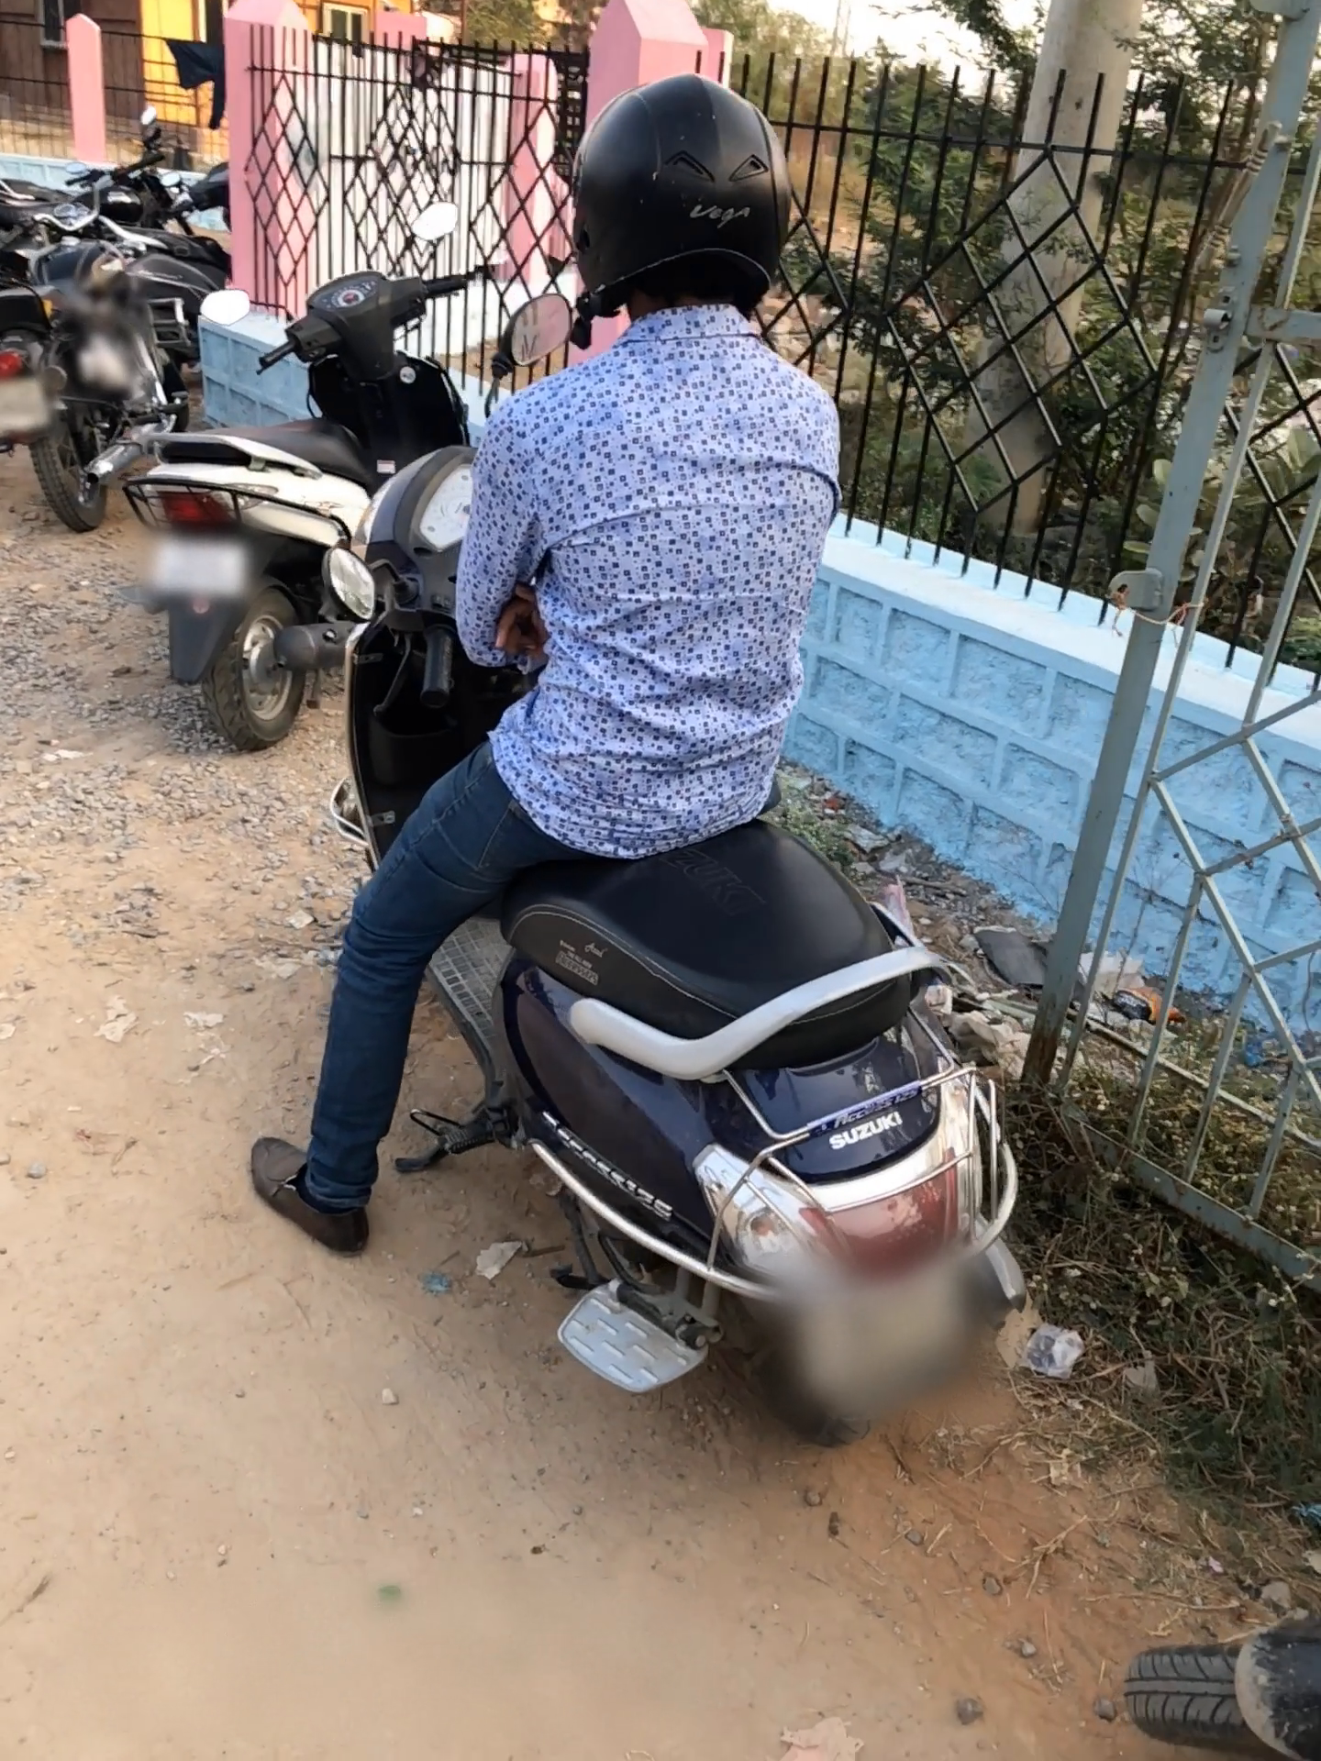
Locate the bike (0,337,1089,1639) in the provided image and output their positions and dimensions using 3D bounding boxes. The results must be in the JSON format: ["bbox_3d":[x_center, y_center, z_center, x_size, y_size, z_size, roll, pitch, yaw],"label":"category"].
[{"bbox_3d":[-0.319,0.019,1.971,0.594,1.013,1.397,-13,38,-33],"label":"bike"}]
